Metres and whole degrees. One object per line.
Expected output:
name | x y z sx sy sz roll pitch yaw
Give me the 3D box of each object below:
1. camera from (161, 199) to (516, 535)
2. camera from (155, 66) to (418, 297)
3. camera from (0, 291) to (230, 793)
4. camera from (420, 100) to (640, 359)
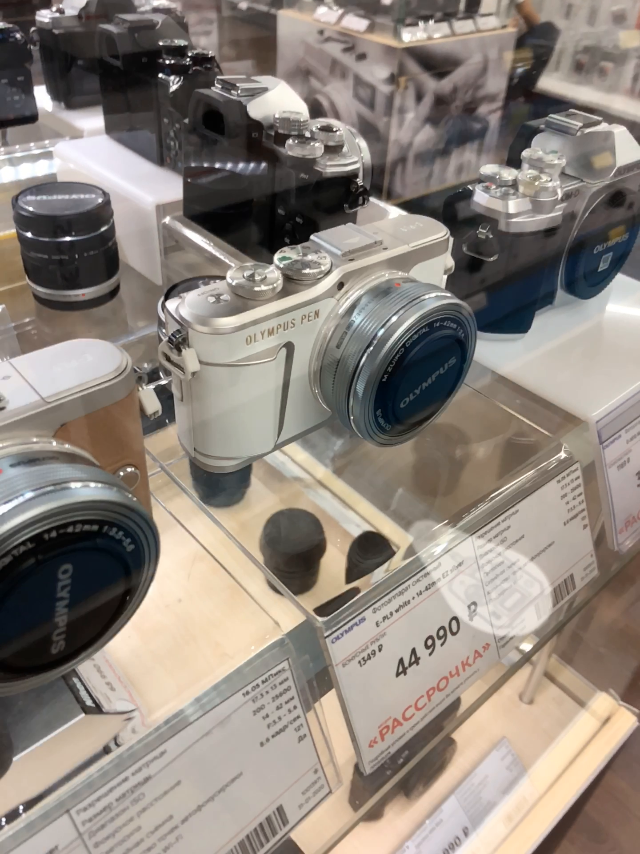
camera | 0.009 -0.028 0.258 0.115 0.070 0.053 -29 49 -34
camera | -0.021 -0.132 0.370 0.072 0.072 0.114 -28 48 -33
camera | -0.077 0.022 0.180 0.088 0.072 0.061 -29 49 -34
camera | 0.106 -0.091 0.313 0.114 0.072 0.053 -29 49 -34
